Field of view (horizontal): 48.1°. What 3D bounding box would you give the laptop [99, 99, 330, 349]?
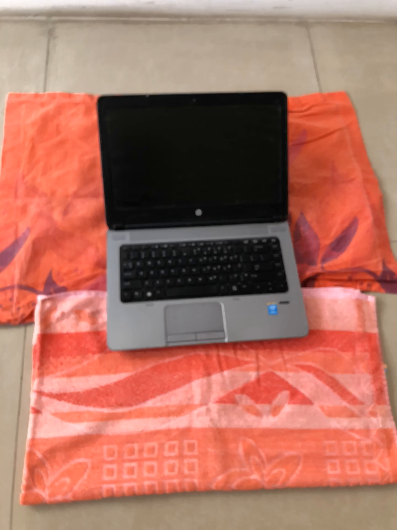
[{"bbox_3d":[0.007,-0.082,0.756,0.328,0.111,0.411,-3,67,-6],"label":"laptop"}]
